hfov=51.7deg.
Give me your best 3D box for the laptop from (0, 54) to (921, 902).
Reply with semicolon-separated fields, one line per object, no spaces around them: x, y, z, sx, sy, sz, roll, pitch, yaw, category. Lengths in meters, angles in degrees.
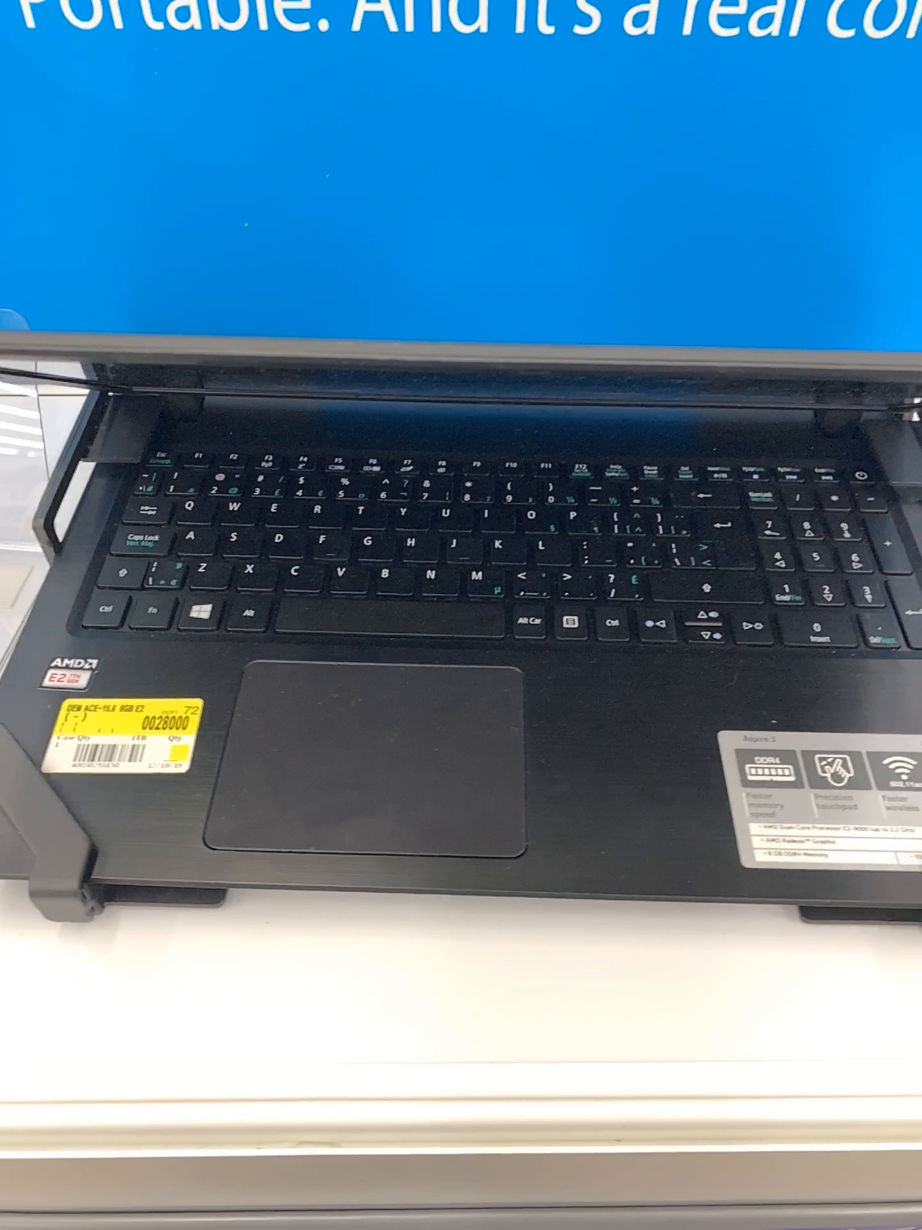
0.019;-0.055;0.315;0.364;0.146;0.234;1;50;1;laptop
